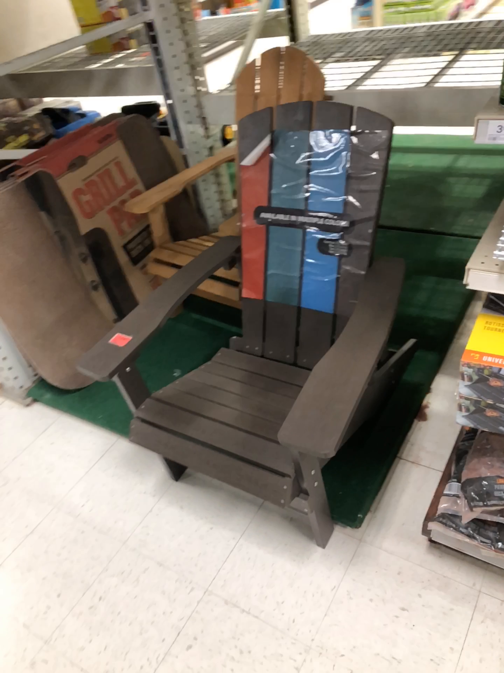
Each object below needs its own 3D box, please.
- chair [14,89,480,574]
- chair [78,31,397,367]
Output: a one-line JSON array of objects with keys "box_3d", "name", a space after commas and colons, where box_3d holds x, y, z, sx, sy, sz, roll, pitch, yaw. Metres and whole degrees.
[{"box_3d": [0.099, -0.103, 1.531, 0.719, 0.816, 0.917, 14, 45, 31], "name": "chair"}, {"box_3d": [0.042, -0.585, 2.177, 0.639, 0.846, 0.977, 19, 48, 35], "name": "chair"}]
